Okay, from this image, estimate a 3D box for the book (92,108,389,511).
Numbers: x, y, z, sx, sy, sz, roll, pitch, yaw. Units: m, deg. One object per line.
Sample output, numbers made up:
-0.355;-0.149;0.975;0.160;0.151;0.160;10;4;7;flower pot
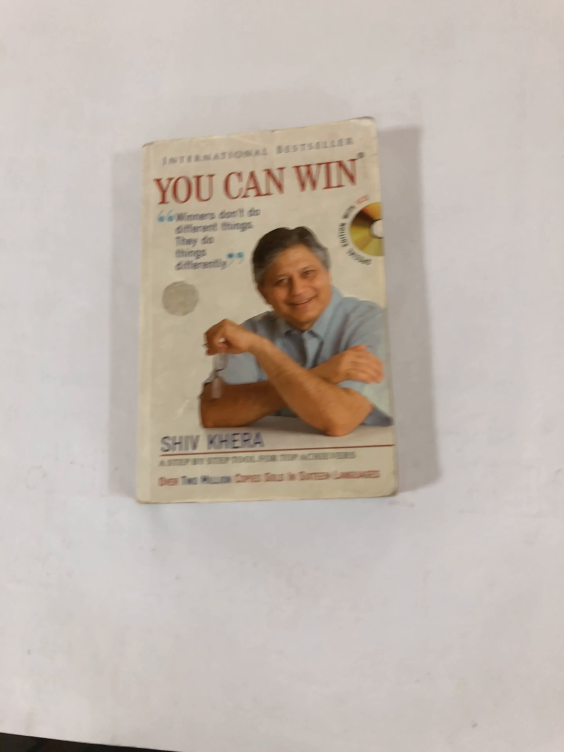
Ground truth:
-0.024;-0.035;0.353;0.150;0.040;0.210;-3;80;6;book
